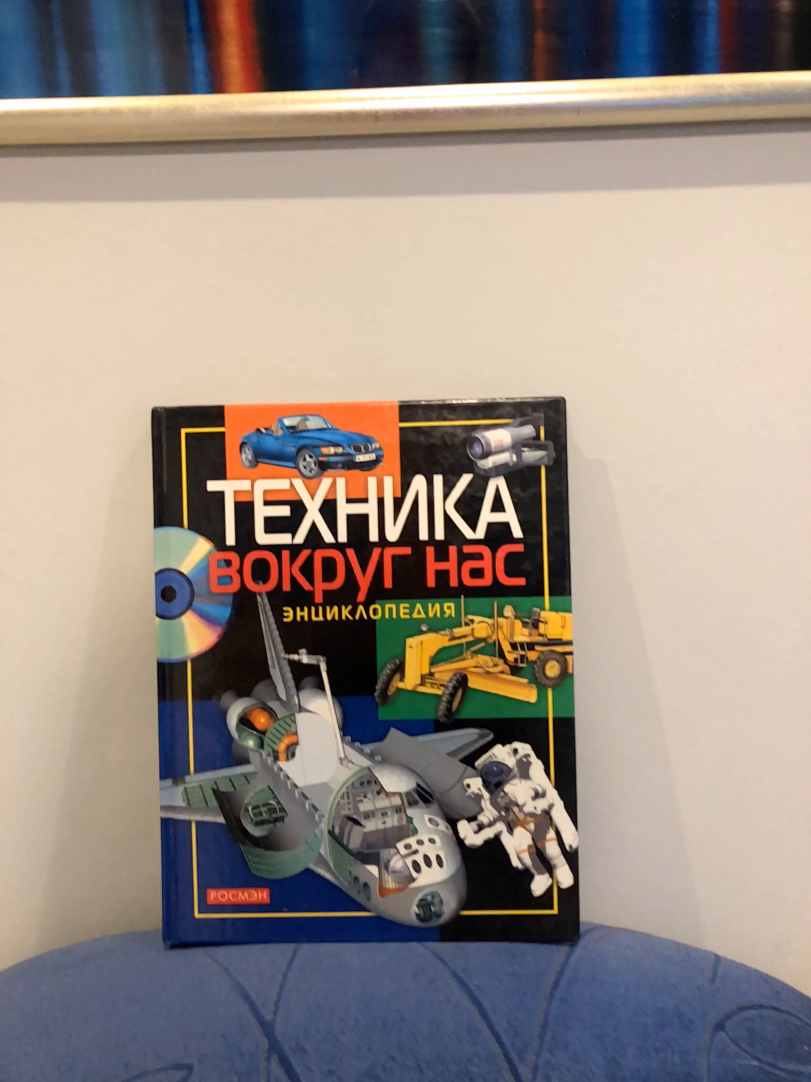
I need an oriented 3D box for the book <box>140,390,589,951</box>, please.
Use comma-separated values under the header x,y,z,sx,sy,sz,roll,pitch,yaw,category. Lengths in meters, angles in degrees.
x,y,z,sx,sy,sz,roll,pitch,yaw,category
-0.021,0.067,0.469,0.220,0.280,0.030,-2,0,3,book
